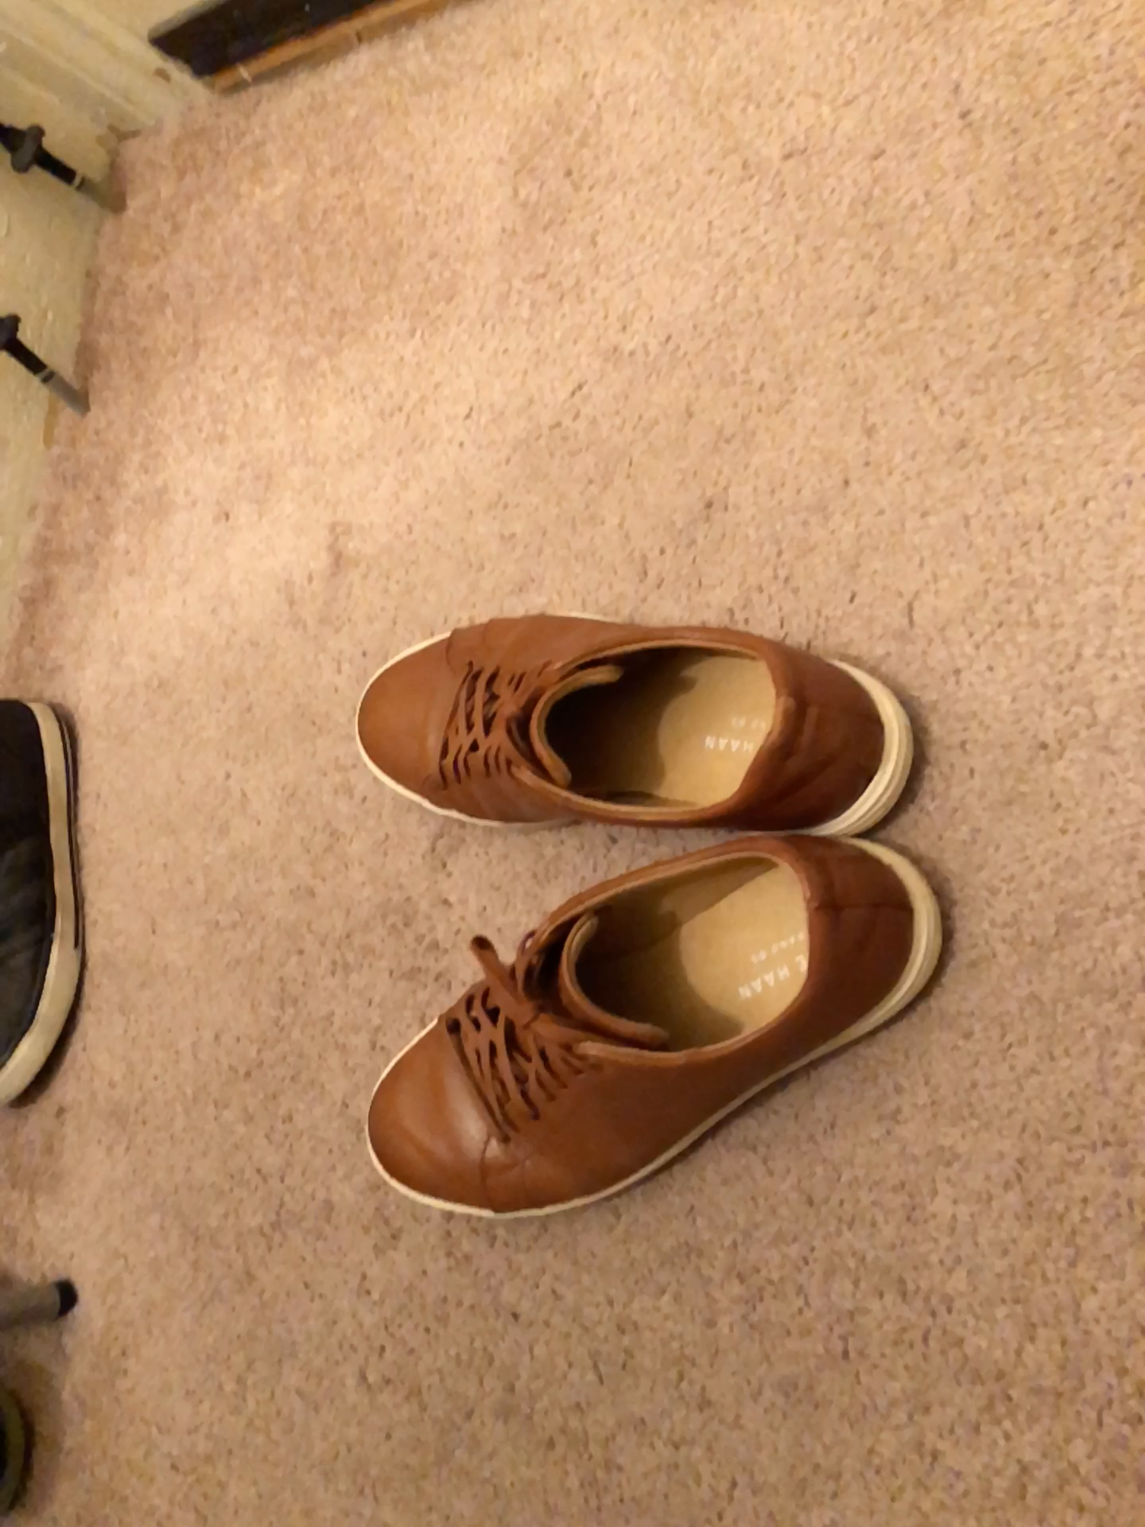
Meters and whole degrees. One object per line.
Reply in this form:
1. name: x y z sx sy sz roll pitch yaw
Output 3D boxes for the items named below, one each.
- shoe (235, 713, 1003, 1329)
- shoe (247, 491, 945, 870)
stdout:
1. shoe: 0.004 0.114 0.509 0.285 0.100 0.117 -35 61 26
2. shoe: -0.001 -0.026 0.544 0.286 0.102 0.117 0 80 38
